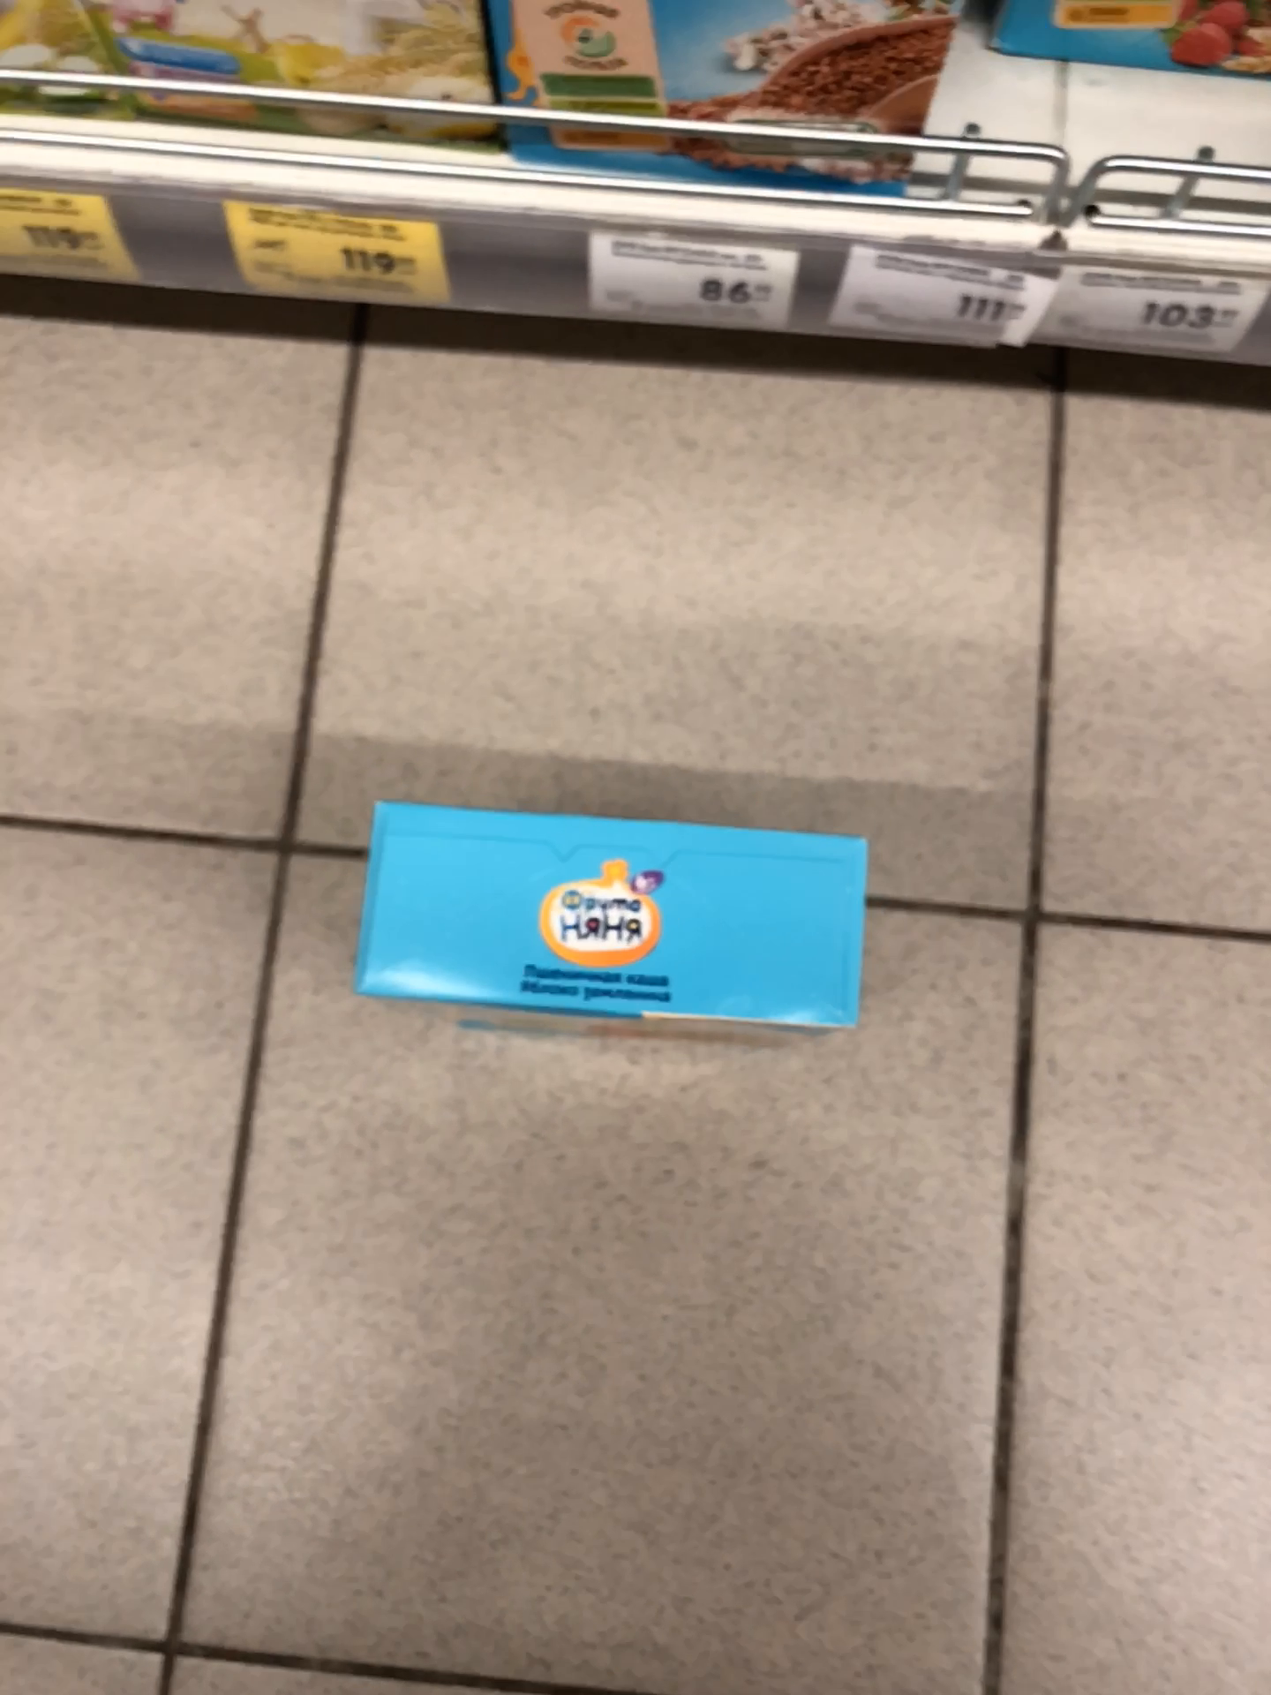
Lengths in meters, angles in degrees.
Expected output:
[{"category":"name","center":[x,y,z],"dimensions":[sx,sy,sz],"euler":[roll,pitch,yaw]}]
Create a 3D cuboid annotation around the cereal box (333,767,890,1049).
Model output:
[{"category":"cereal box","center":[-0.004,0.029,0.464],"dimensions":[0.140,0.200,0.060],"euler":[3,80,1]}]
